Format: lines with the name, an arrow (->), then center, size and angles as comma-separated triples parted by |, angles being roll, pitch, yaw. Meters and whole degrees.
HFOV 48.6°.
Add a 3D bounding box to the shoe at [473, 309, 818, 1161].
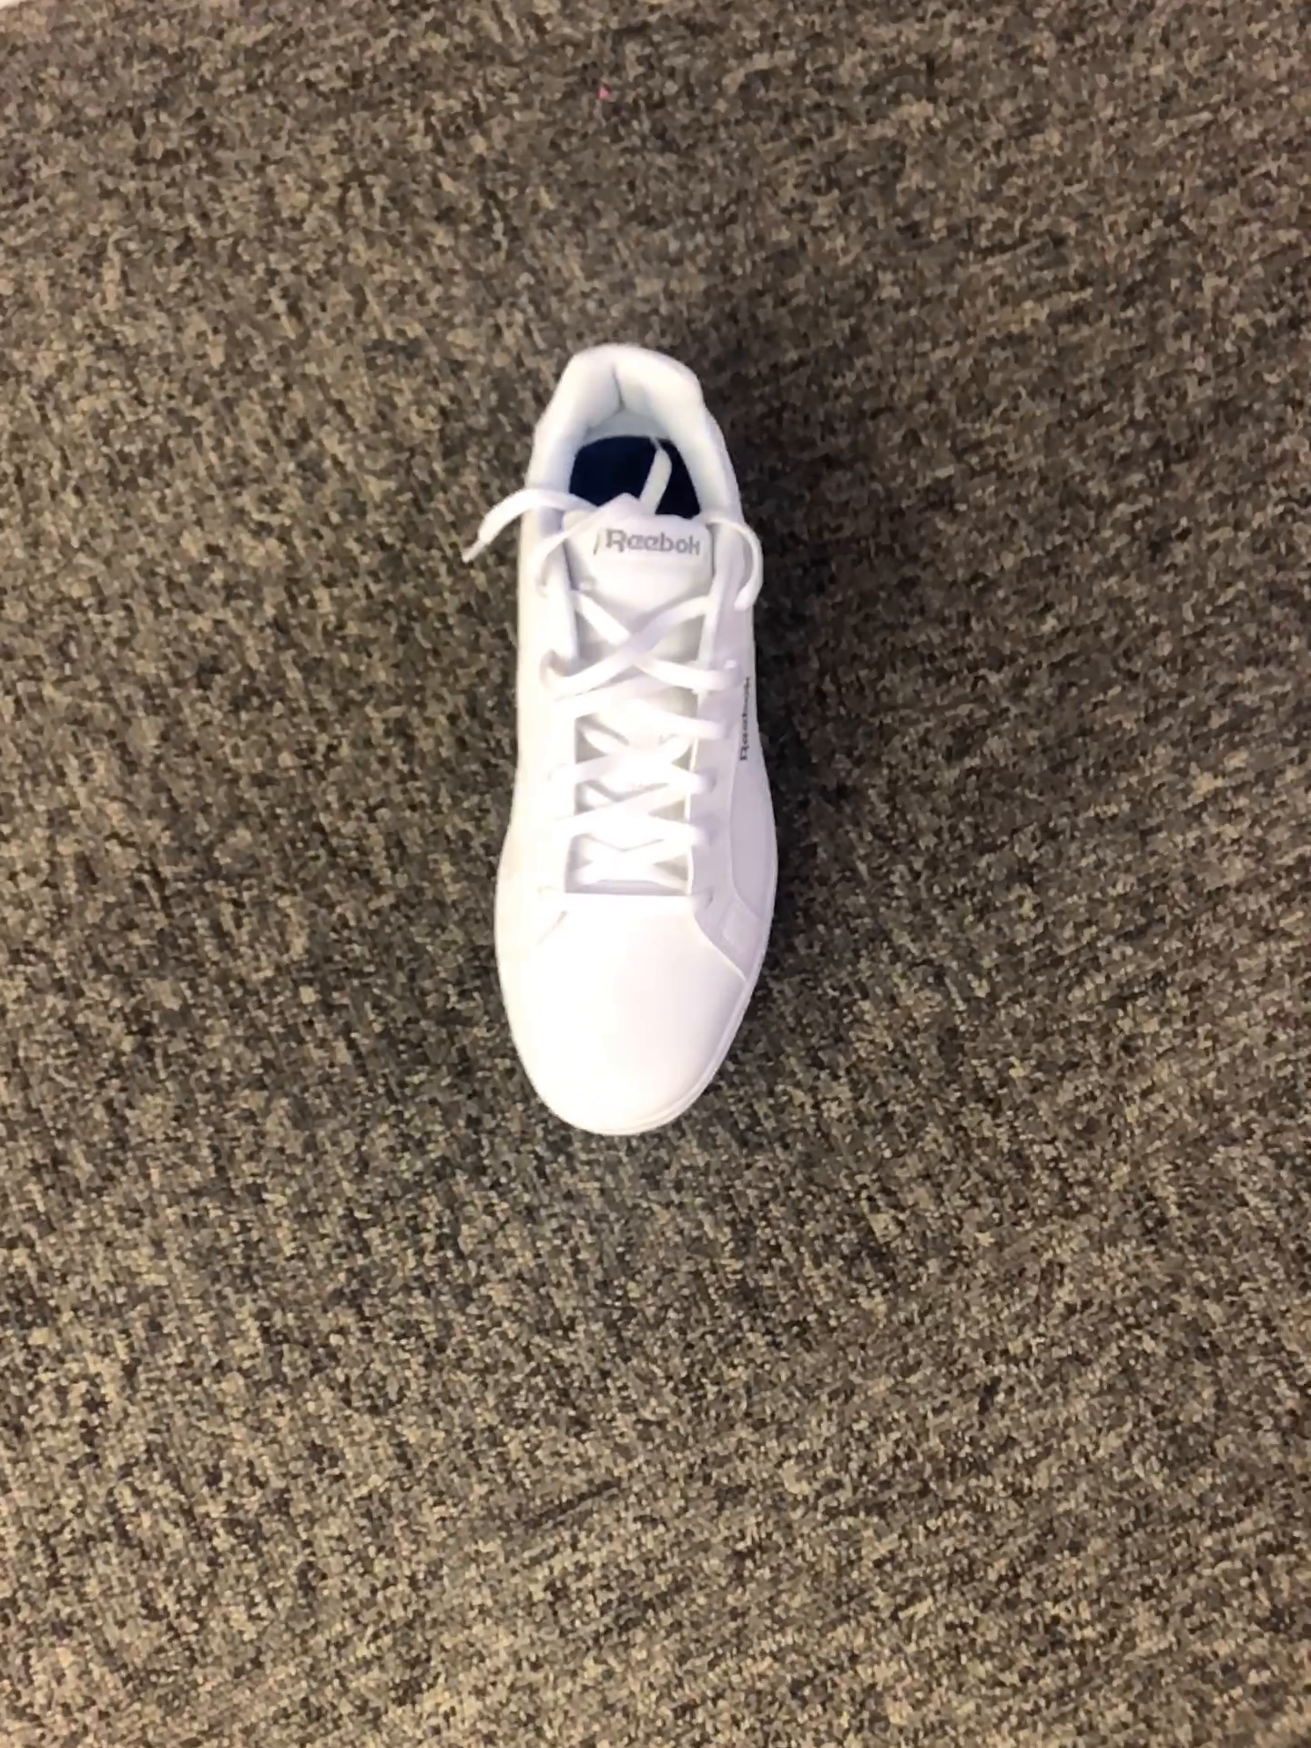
shoe -> -0.003, -0.041, 0.489 | 0.100, 0.100, 0.260 | 1, 84, -2
